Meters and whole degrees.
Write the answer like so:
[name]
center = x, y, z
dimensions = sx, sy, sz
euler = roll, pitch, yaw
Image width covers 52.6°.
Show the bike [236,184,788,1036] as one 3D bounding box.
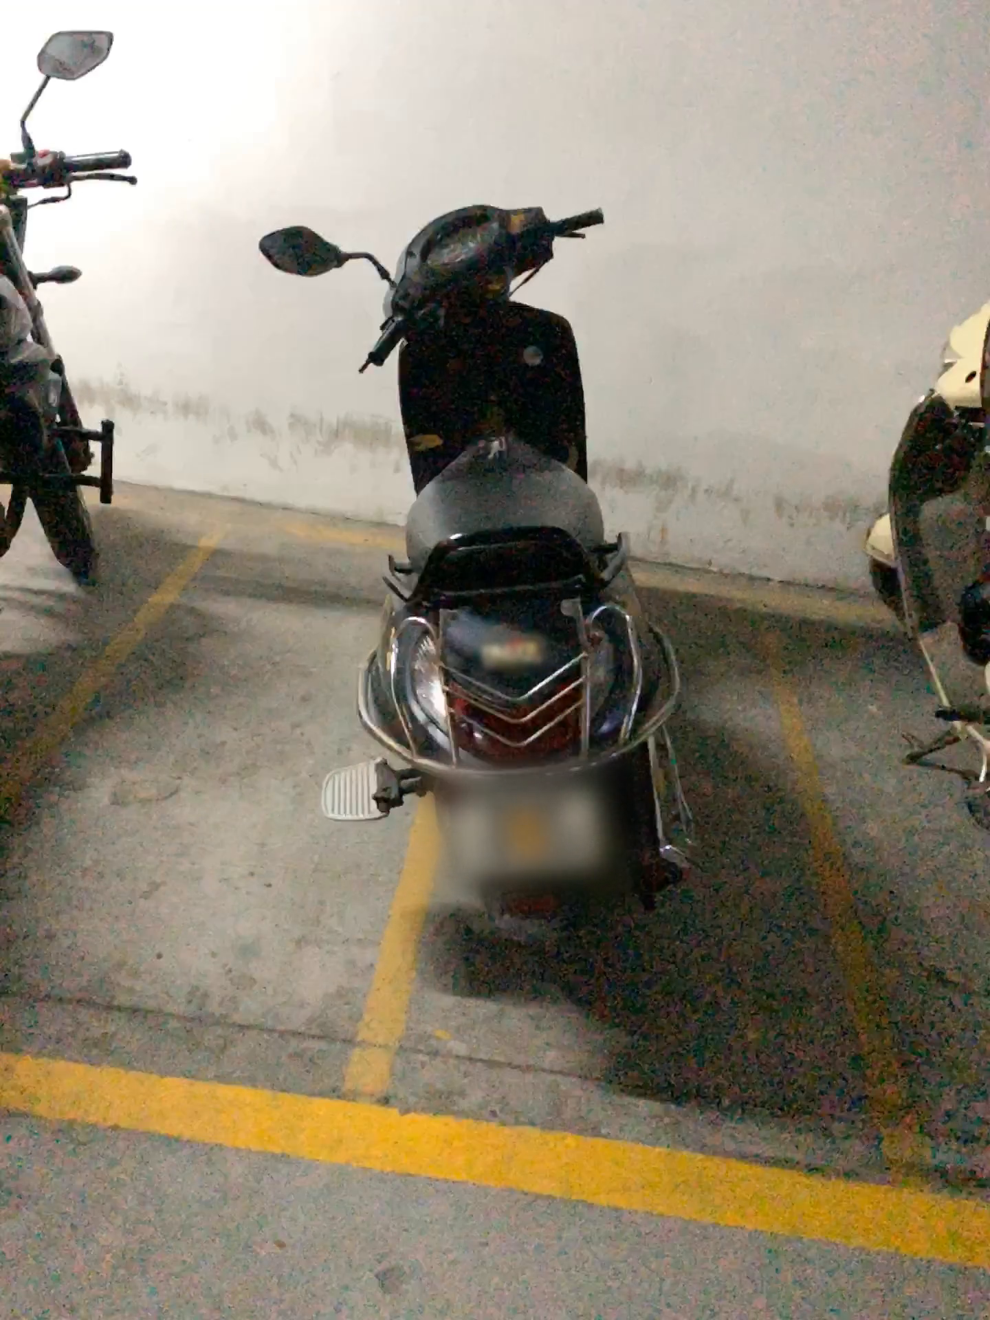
[bike]
center = -0.104, -0.236, 2.148
dimensions = 0.652, 1.239, 1.539
euler = 3, 30, -8
